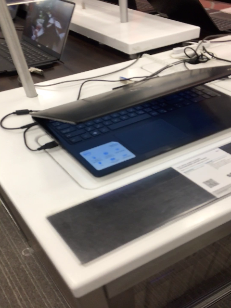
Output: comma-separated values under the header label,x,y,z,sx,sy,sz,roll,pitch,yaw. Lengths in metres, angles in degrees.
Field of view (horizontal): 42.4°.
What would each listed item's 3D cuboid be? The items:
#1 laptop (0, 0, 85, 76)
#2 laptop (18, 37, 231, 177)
label,x,y,z,sx,sy,sz,roll,pitch,yaw
laptop,-0.346,-0.424,1.026,0.325,0.160,0.277,-24,46,-18
laptop,0.064,-0.125,0.647,0.410,0.107,0.259,-23,46,-19
